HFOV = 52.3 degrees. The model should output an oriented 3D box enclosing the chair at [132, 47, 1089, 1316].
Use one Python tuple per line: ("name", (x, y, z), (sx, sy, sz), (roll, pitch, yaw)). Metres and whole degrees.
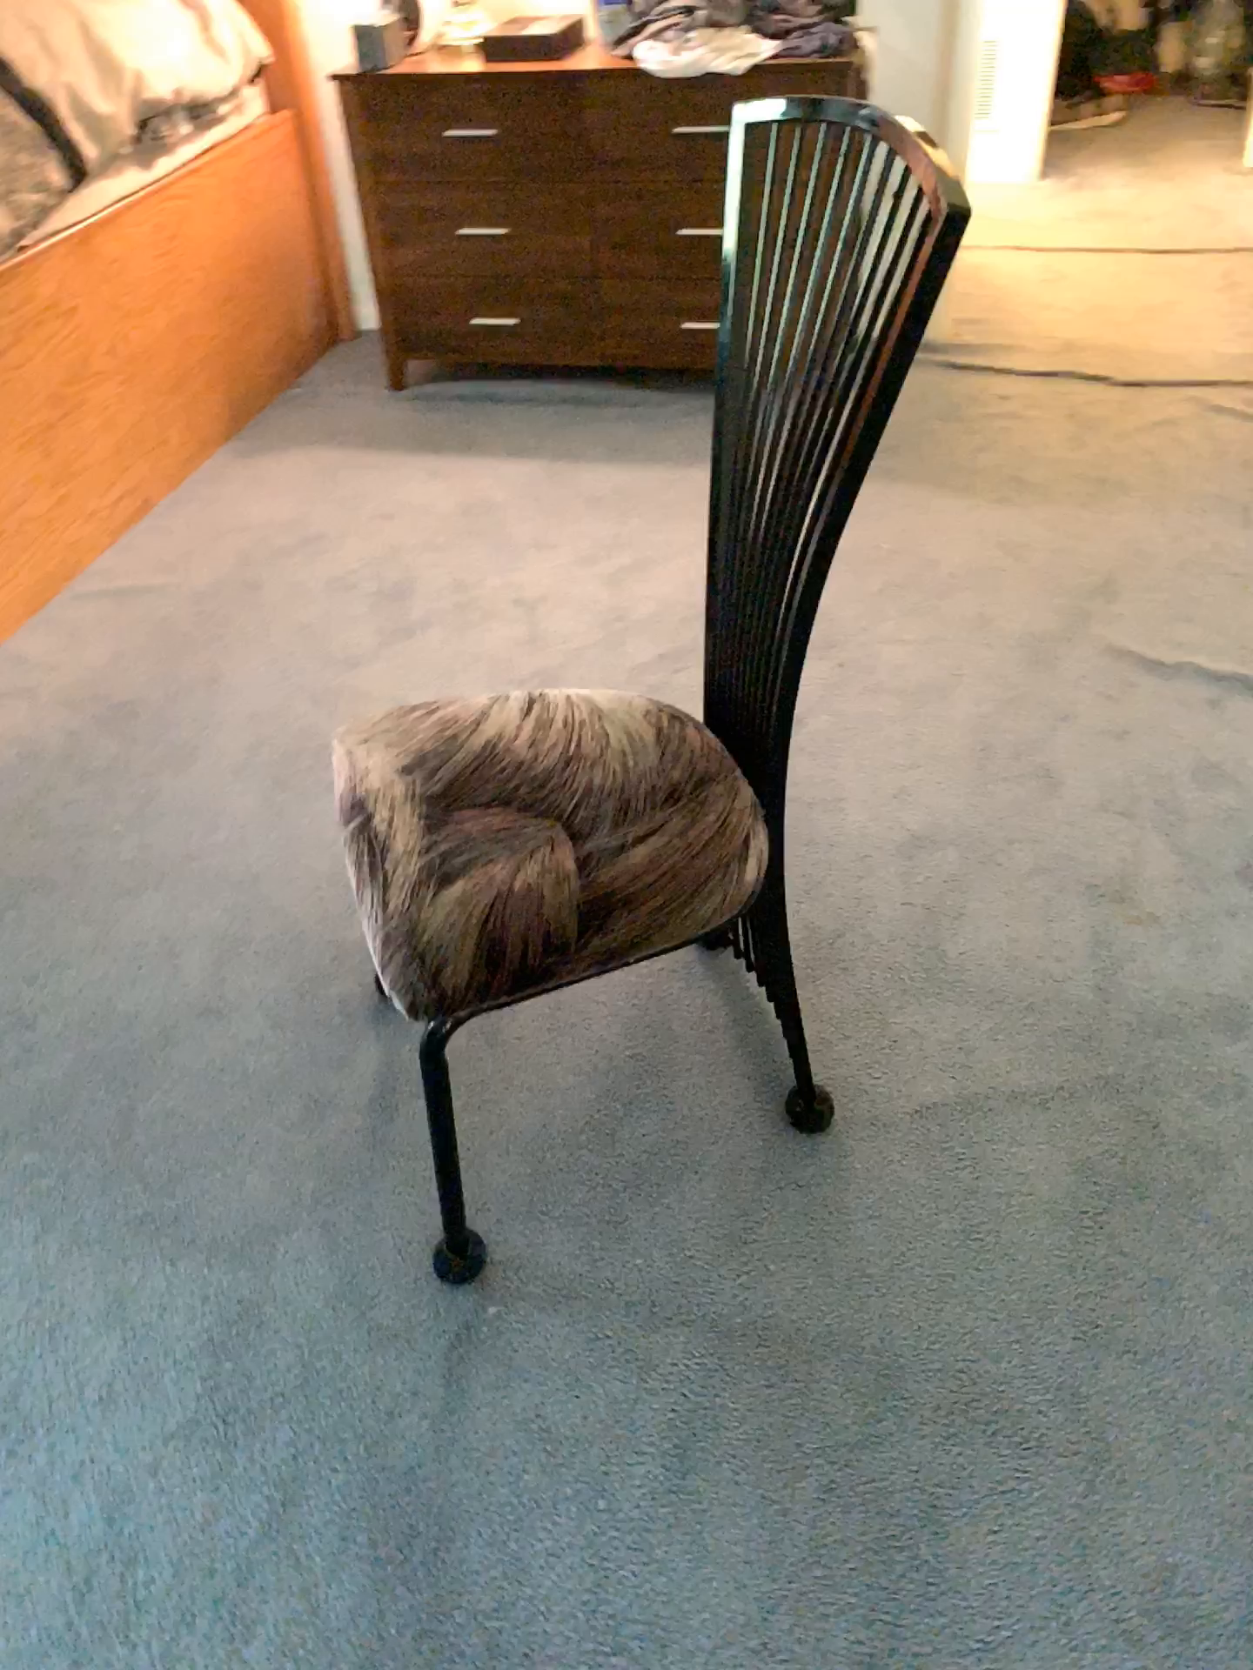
("chair", (-0.035, -0.114, 1.207), (0.540, 0.974, 0.513), (-15, 41, -13))
